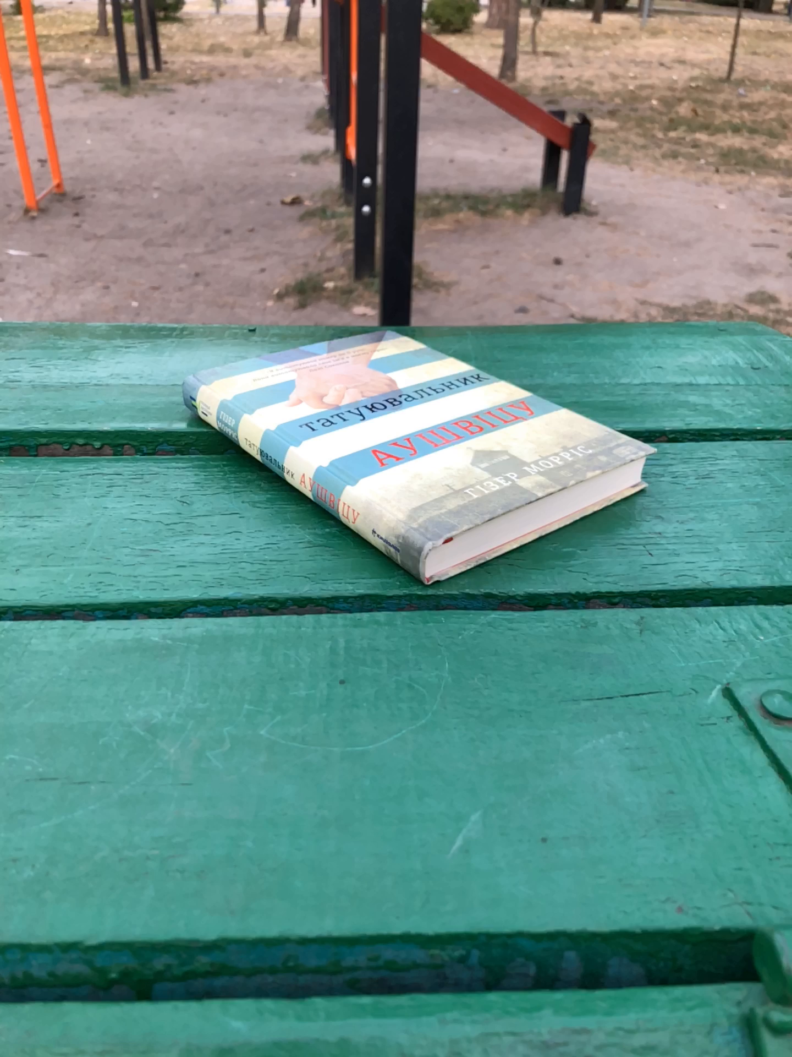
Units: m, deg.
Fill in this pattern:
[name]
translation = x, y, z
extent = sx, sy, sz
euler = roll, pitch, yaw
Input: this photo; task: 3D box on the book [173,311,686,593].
[book]
translation = 0.007, -0.056, 0.442
extent = 0.152, 0.025, 0.219
euler = -21, 39, -33
